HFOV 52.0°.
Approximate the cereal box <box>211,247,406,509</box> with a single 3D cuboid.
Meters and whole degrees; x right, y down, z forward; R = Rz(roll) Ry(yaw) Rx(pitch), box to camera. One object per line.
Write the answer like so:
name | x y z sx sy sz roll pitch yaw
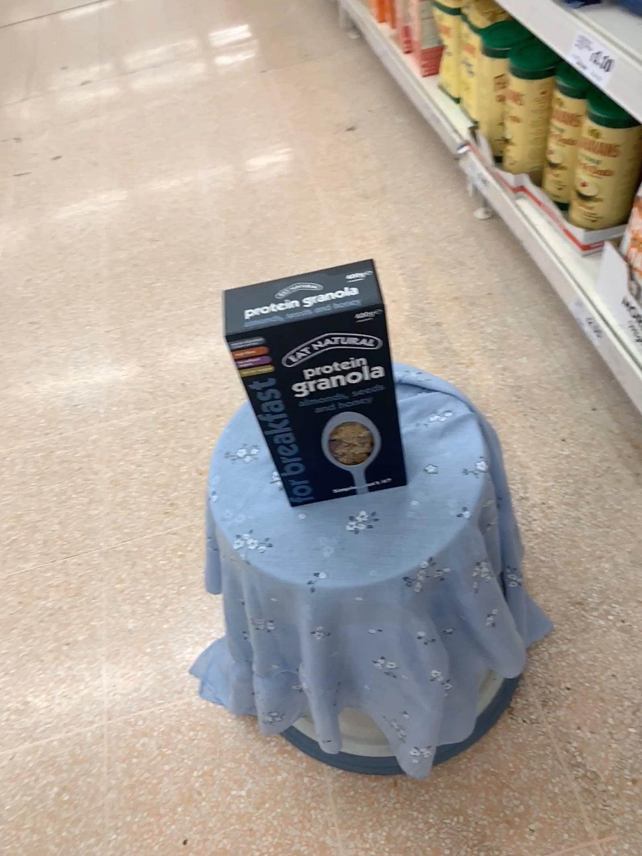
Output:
cereal box | -0.001 -0.030 0.592 0.130 0.238 0.071 -11 51 2
